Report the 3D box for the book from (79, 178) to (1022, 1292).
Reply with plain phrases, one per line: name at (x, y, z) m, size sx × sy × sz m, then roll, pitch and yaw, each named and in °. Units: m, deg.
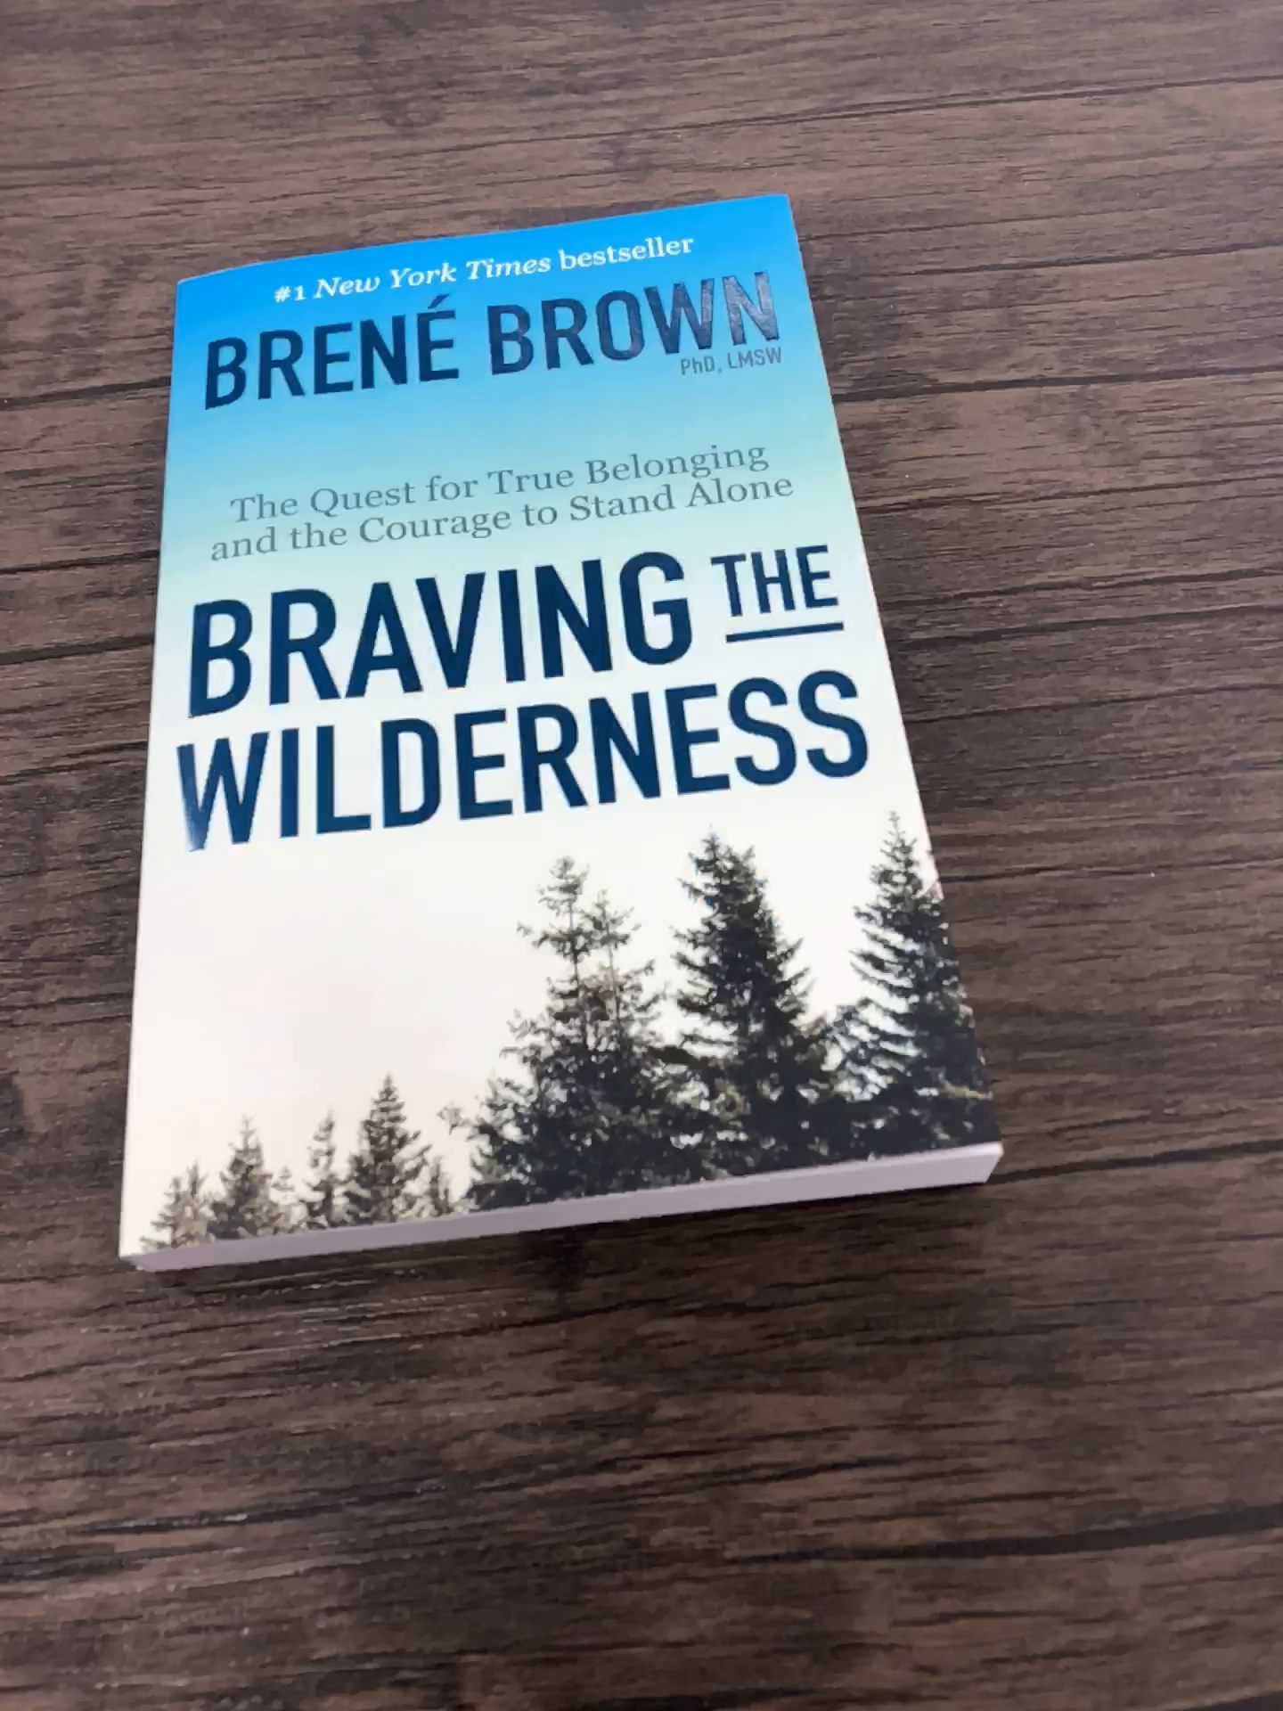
book at (-0.023, -0.033, 0.246) m, size 0.130 × 0.021 × 0.192 m, roll -7°, pitch 64°, yaw 0°
